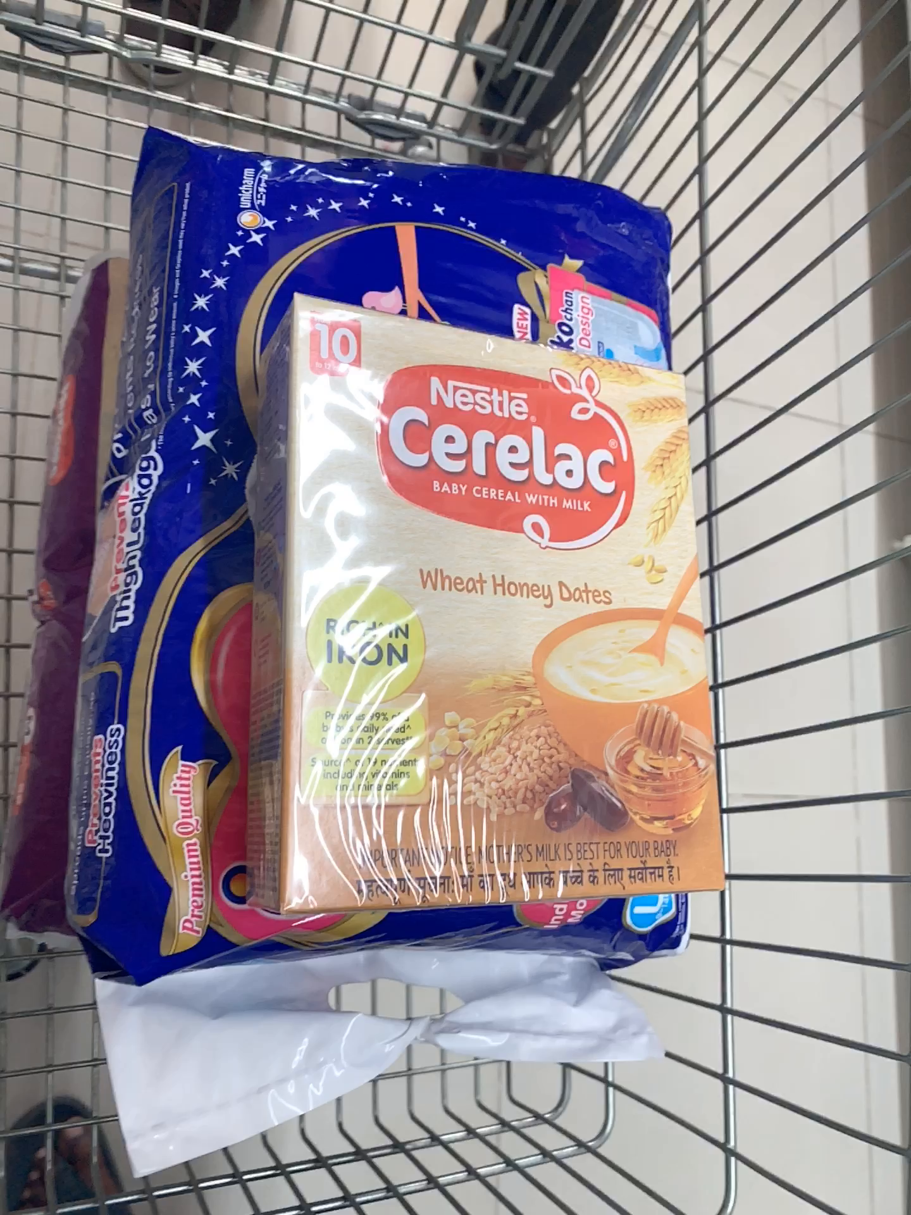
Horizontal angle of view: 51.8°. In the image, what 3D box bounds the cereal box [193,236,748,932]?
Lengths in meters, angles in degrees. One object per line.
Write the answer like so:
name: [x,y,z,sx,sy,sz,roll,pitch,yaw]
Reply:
cereal box: [0.004,-0.002,0.308,0.160,0.060,0.190,4,77,-24]
